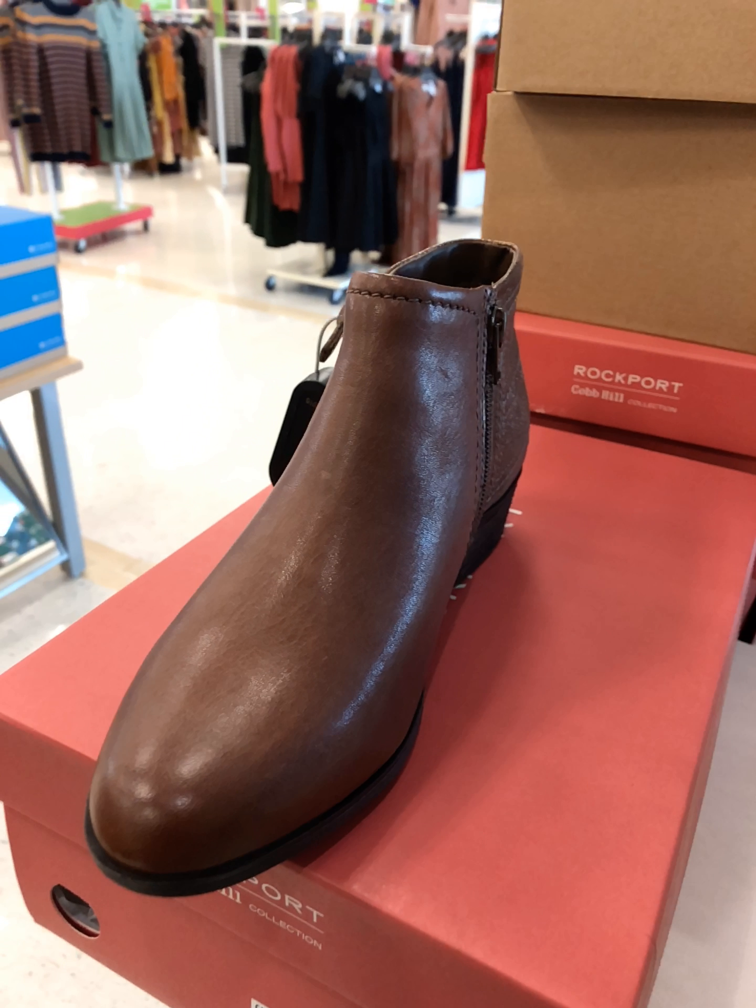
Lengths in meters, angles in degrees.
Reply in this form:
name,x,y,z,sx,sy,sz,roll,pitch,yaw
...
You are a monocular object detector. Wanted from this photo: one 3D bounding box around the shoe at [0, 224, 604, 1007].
name,x,y,z,sx,sy,sz,roll,pitch,yaw
shoe,-0.009,-0.006,0.293,0.101,0.119,0.282,14,32,20
